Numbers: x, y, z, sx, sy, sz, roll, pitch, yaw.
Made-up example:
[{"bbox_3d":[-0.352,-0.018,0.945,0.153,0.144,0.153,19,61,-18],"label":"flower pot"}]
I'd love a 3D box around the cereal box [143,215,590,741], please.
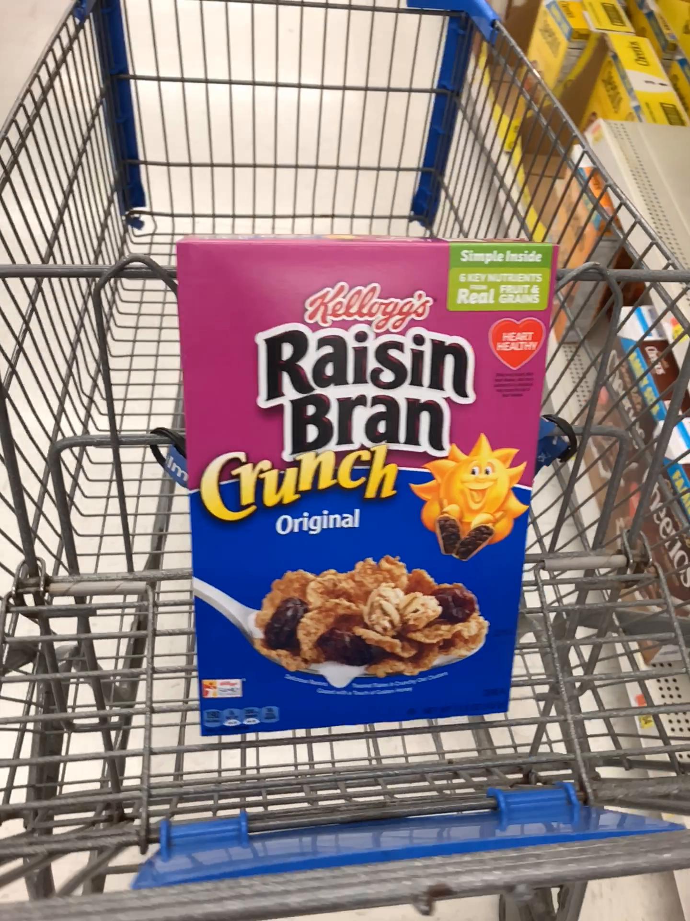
[{"bbox_3d":[0.008,0.012,0.427,0.210,0.280,0.060,-2,19,-8],"label":"cereal box"}]
